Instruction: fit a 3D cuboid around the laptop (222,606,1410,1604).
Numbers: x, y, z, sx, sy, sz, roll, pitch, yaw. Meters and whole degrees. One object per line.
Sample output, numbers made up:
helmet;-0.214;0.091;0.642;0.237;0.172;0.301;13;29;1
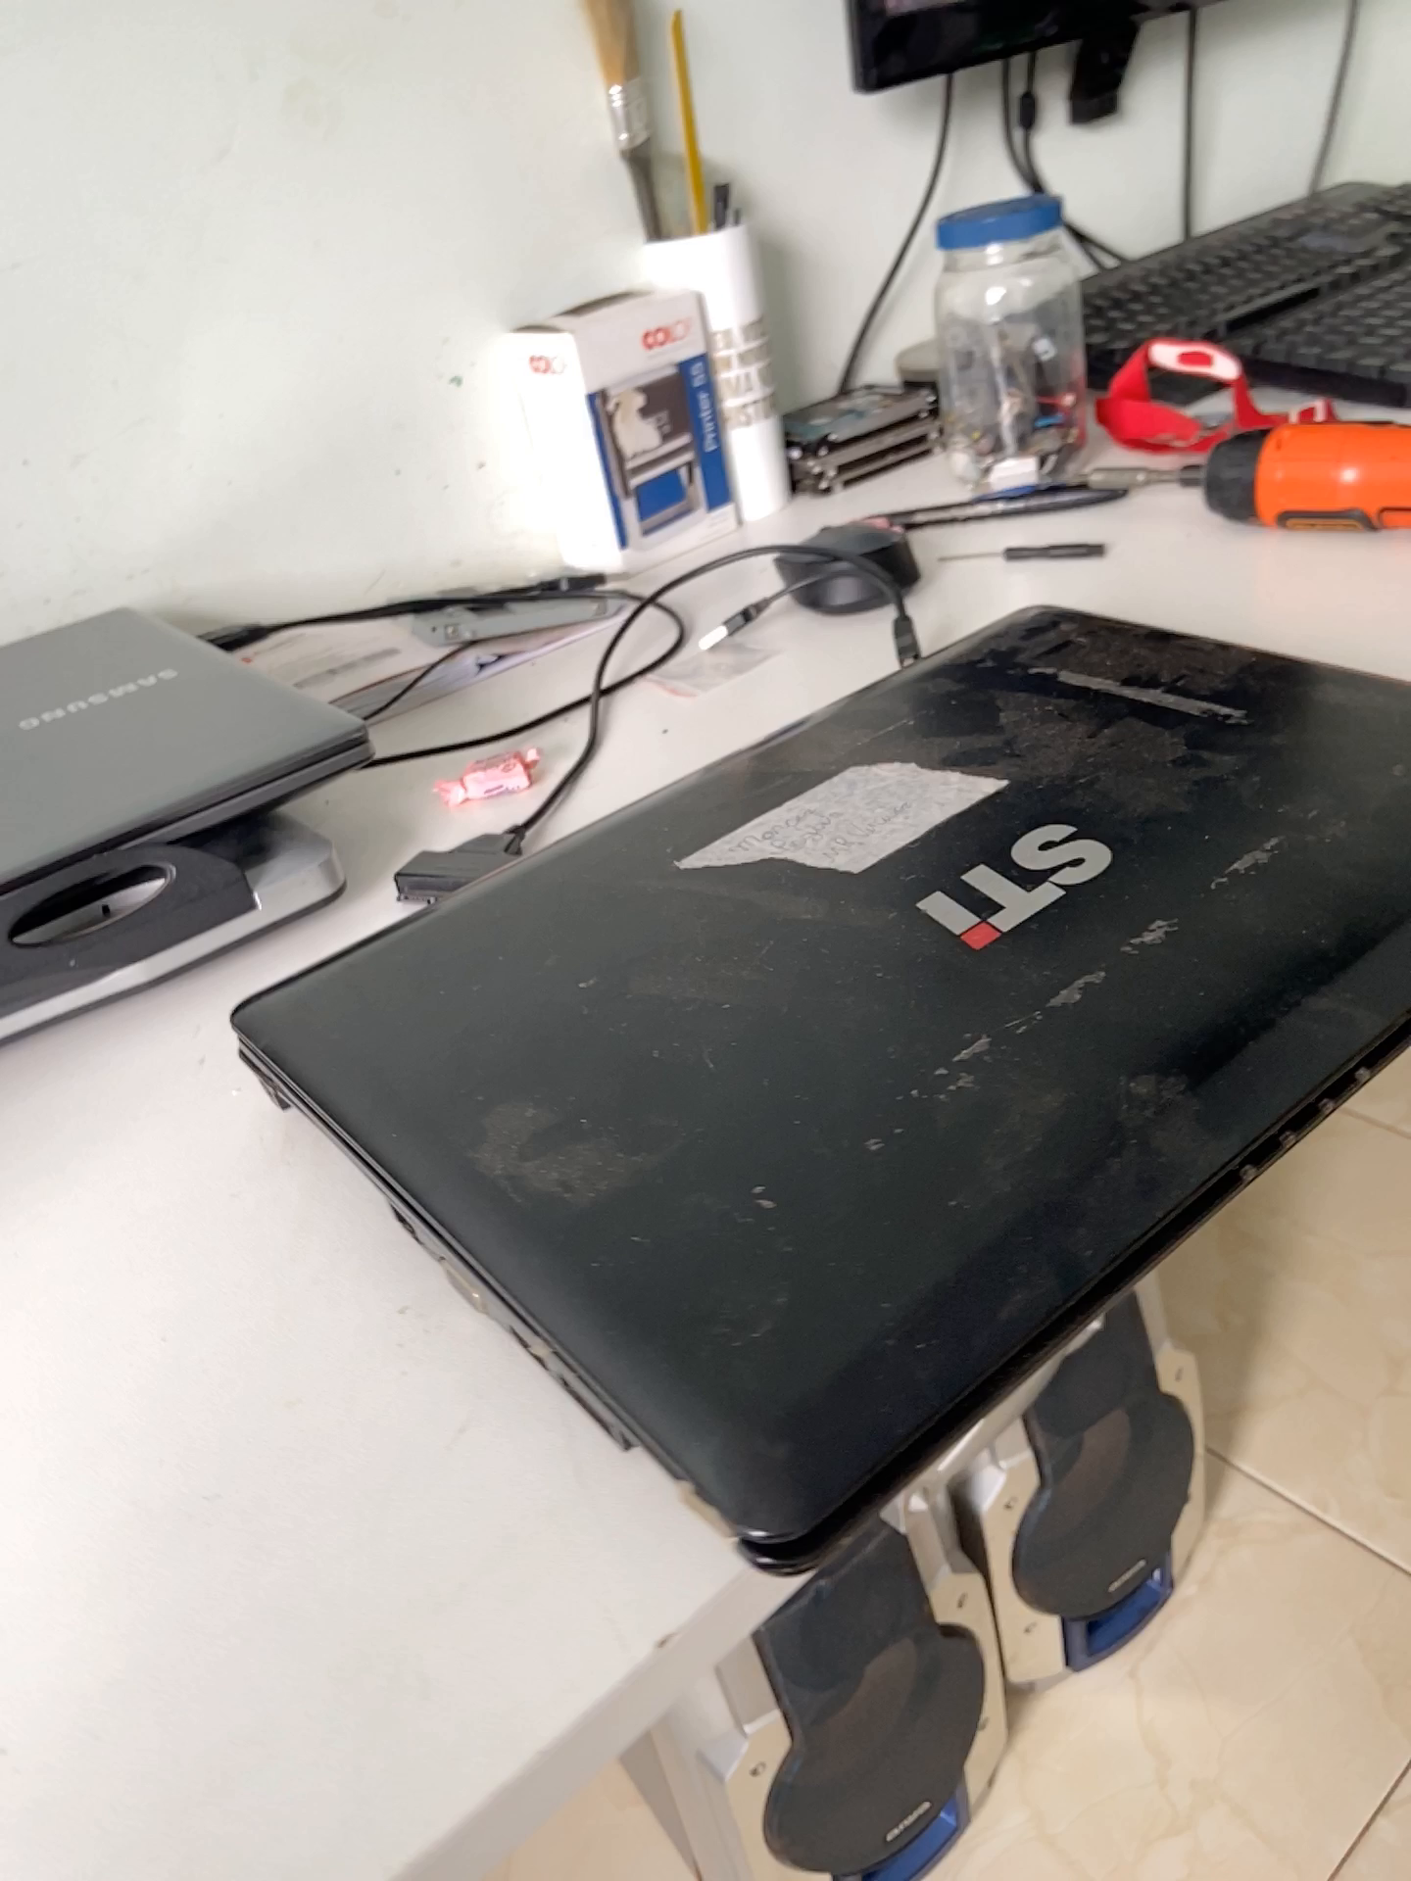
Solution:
laptop;0.069;-0.009;0.401;0.338;0.011;0.230;-30;38;-28

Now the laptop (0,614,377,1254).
laptop;-0.317;-0.039;0.495;0.344;0.006;0.228;-30;36;-33
